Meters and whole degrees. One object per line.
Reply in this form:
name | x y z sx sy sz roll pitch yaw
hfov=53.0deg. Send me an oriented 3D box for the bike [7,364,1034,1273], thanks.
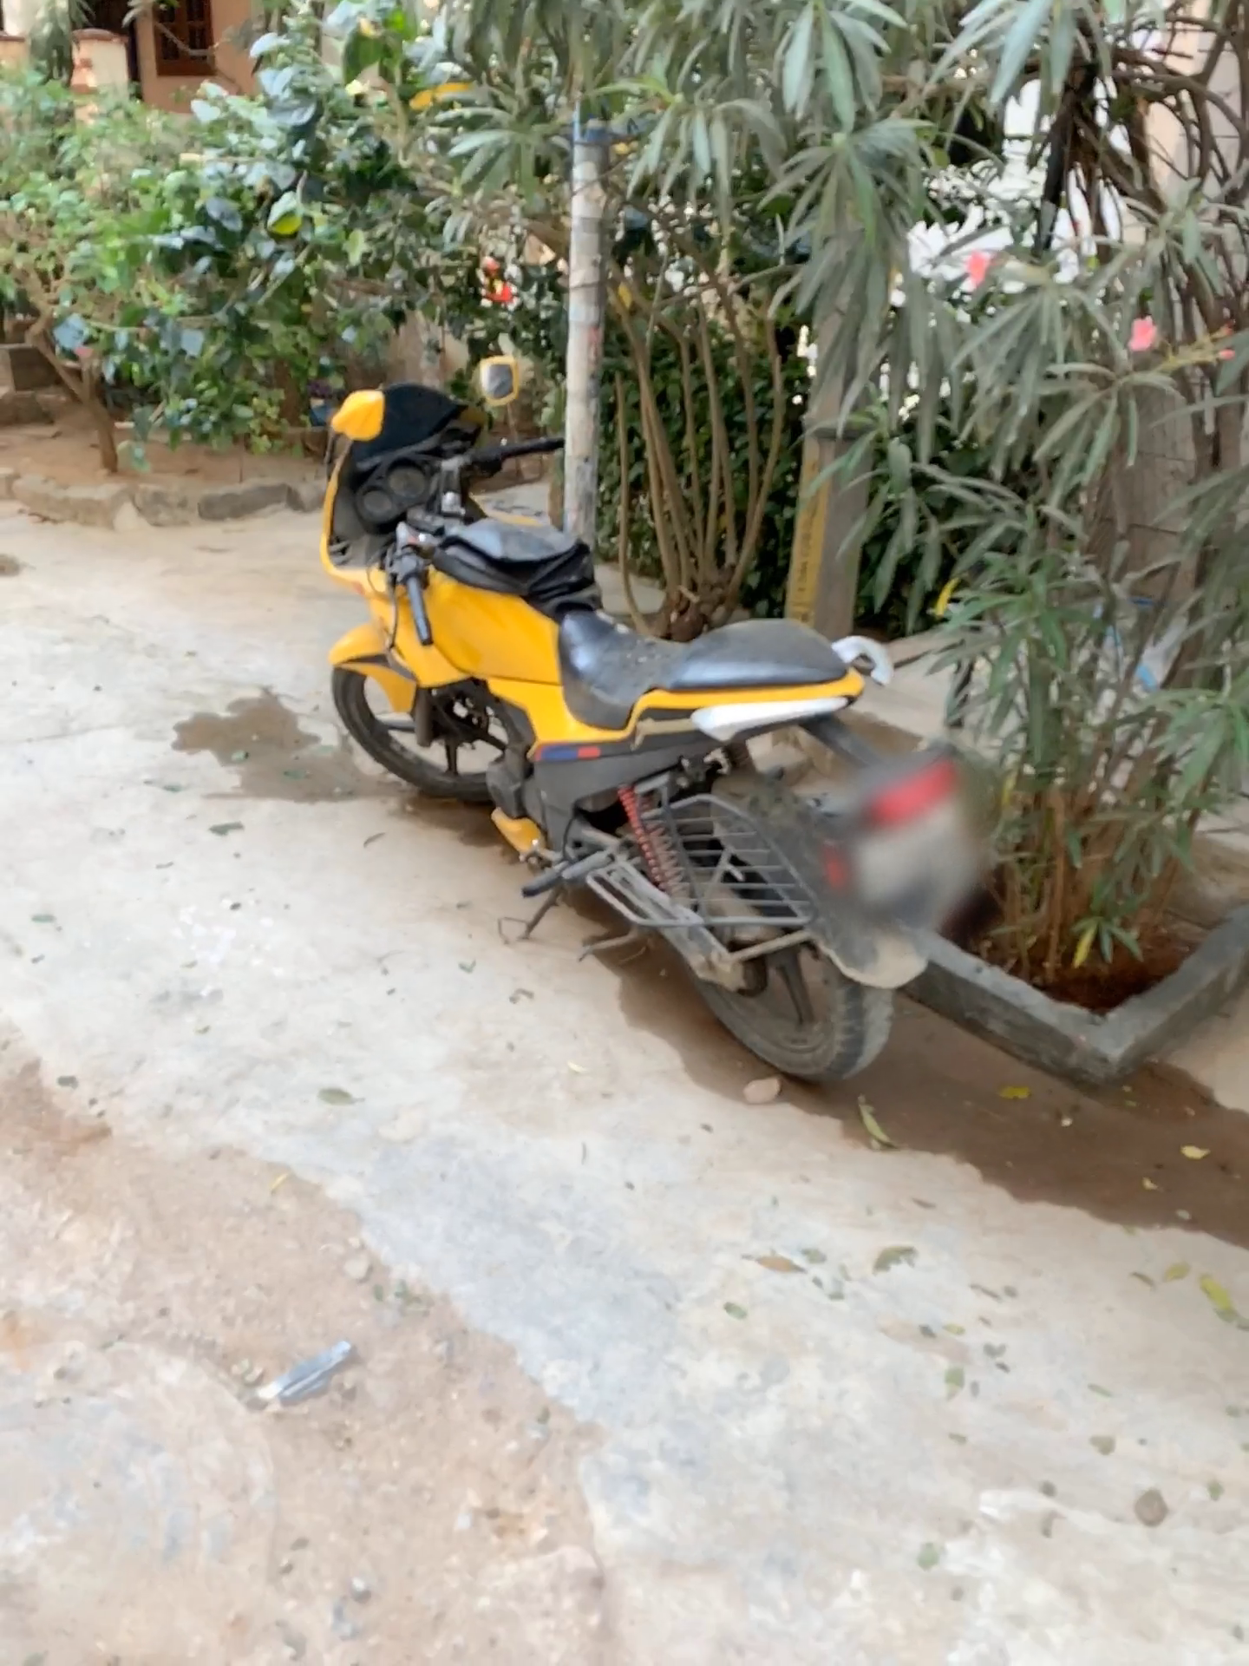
bike | -0.335 -0.230 2.443 0.854 0.954 1.751 -19 37 -38
